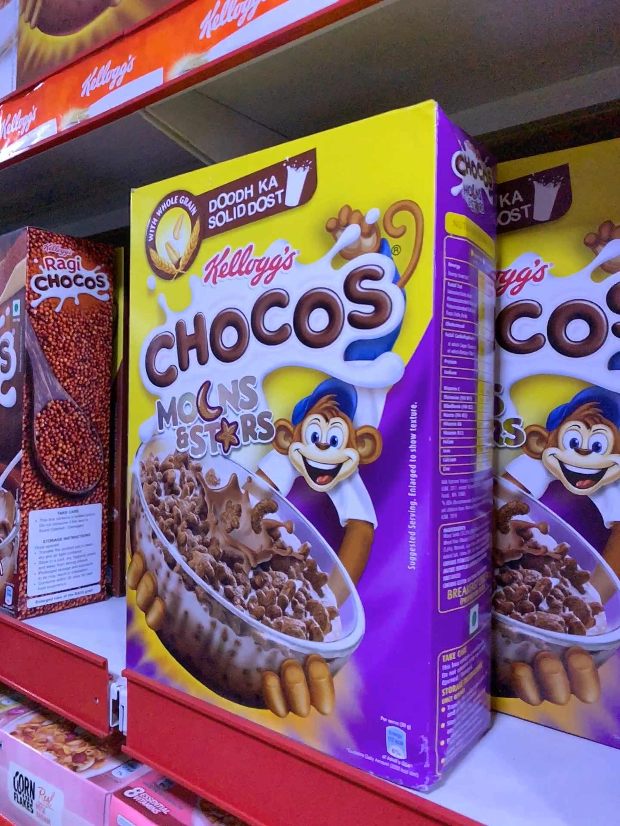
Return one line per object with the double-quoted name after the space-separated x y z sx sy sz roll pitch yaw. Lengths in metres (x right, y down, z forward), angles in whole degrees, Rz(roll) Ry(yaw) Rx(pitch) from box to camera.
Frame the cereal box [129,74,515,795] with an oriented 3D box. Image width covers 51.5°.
-0.003 0.006 0.301 0.180 0.250 0.060 0 0 37 "cereal box"
